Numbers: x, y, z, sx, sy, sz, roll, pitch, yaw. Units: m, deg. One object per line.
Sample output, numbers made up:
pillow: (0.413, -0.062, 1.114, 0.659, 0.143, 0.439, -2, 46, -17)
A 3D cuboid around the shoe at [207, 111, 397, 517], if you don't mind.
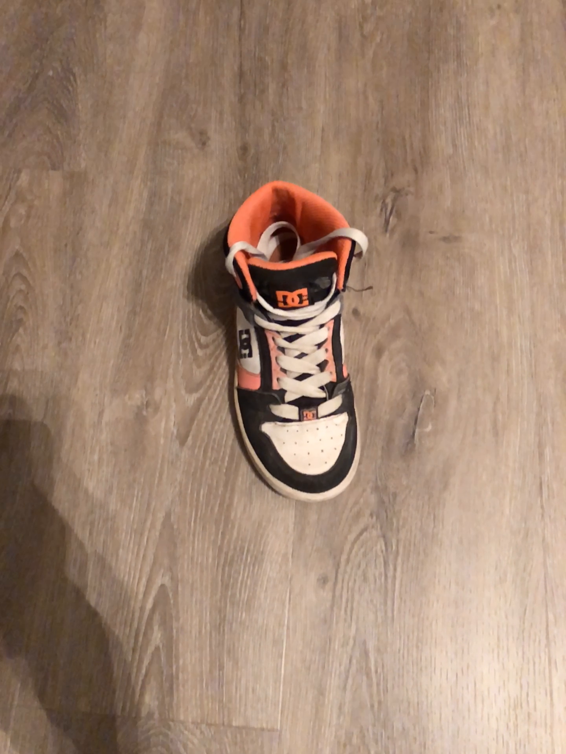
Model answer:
shoe: (0.007, -0.035, 0.439, 0.090, 0.140, 0.240, -5, 72, -1)
